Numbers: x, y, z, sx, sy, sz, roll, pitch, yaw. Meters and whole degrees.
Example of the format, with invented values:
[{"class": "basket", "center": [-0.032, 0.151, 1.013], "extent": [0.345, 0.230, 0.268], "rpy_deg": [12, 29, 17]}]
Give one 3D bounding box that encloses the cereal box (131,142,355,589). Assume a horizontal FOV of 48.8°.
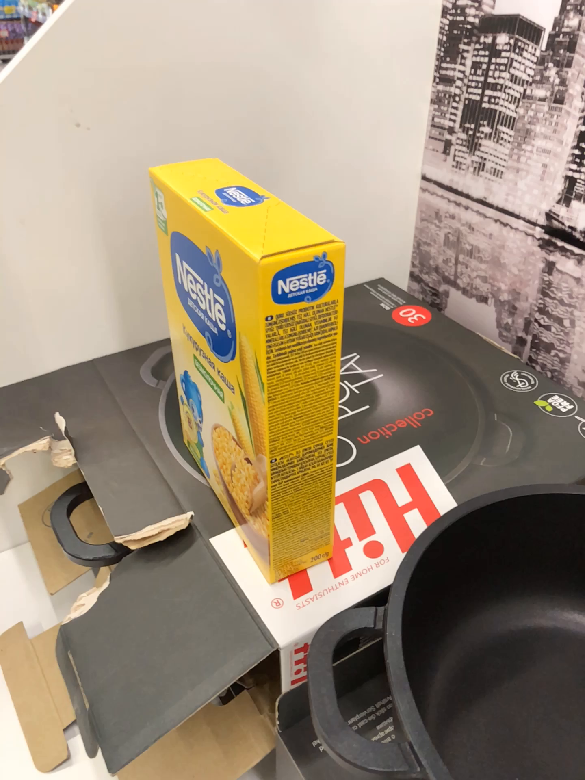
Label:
[{"class": "cereal box", "center": [-0.032, -0.017, 0.364], "extent": [0.050, 0.199, 0.151], "rpy_deg": [-16, 37, -23]}]
